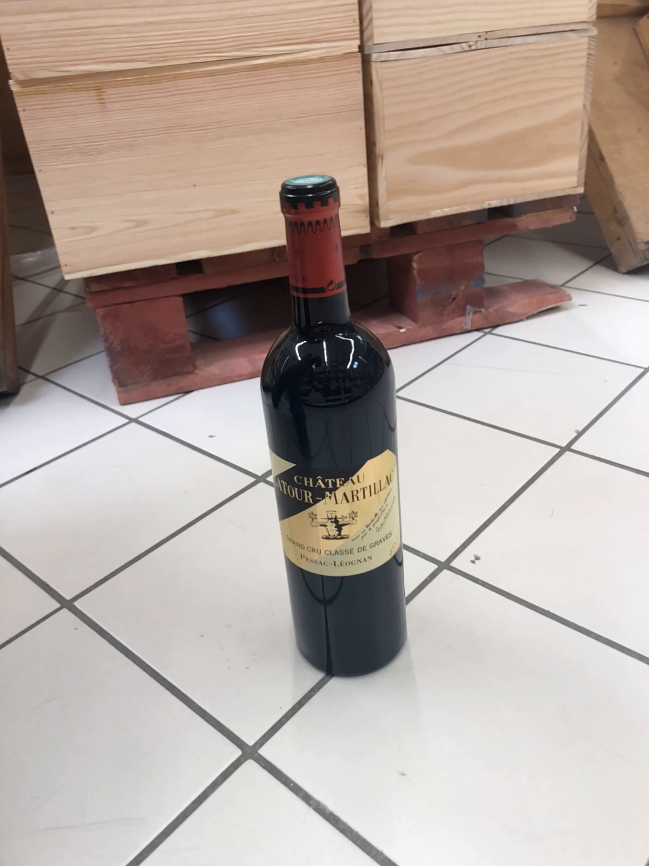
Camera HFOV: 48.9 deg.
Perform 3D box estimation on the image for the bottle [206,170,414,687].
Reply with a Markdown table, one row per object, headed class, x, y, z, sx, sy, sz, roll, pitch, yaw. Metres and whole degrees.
| class | x | y | z | sx | sy | sz | roll | pitch | yaw |
| --- | --- | --- | --- | --- | --- | --- | --- | --- | --- |
| bottle | 0.004 | 0.011 | 0.395 | 0.080 | 0.278 | 0.080 | -4 | 29 | 2 |
